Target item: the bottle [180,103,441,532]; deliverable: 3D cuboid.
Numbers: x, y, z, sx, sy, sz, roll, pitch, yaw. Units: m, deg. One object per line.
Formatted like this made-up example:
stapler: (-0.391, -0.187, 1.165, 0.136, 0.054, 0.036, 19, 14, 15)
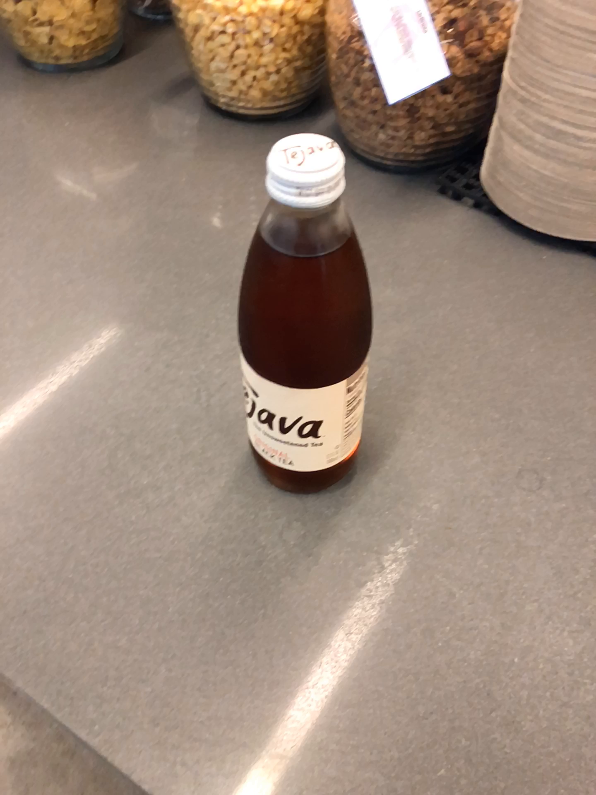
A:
bottle: (0.006, -0.025, 0.319, 0.070, 0.189, 0.070, 0, 50, 0)
